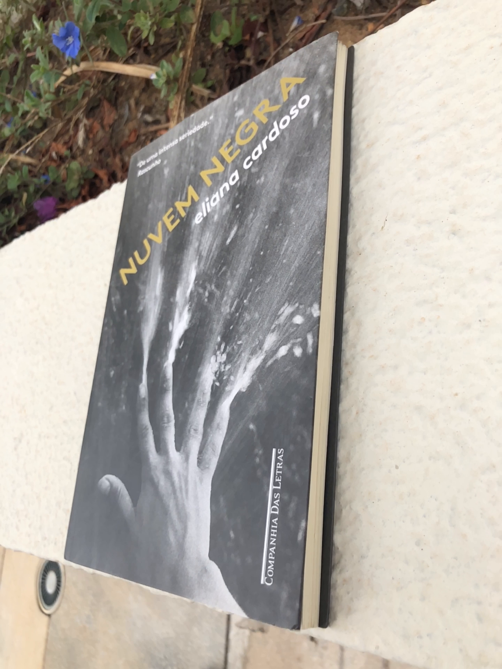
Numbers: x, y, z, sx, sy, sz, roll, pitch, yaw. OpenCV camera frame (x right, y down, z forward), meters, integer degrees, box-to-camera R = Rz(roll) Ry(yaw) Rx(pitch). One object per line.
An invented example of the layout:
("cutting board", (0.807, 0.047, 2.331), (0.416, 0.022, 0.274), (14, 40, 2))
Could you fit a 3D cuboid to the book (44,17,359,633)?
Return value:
("book", (-0.025, -0.008, 0.226), (0.141, 0.013, 0.200), (-9, 69, 42))
